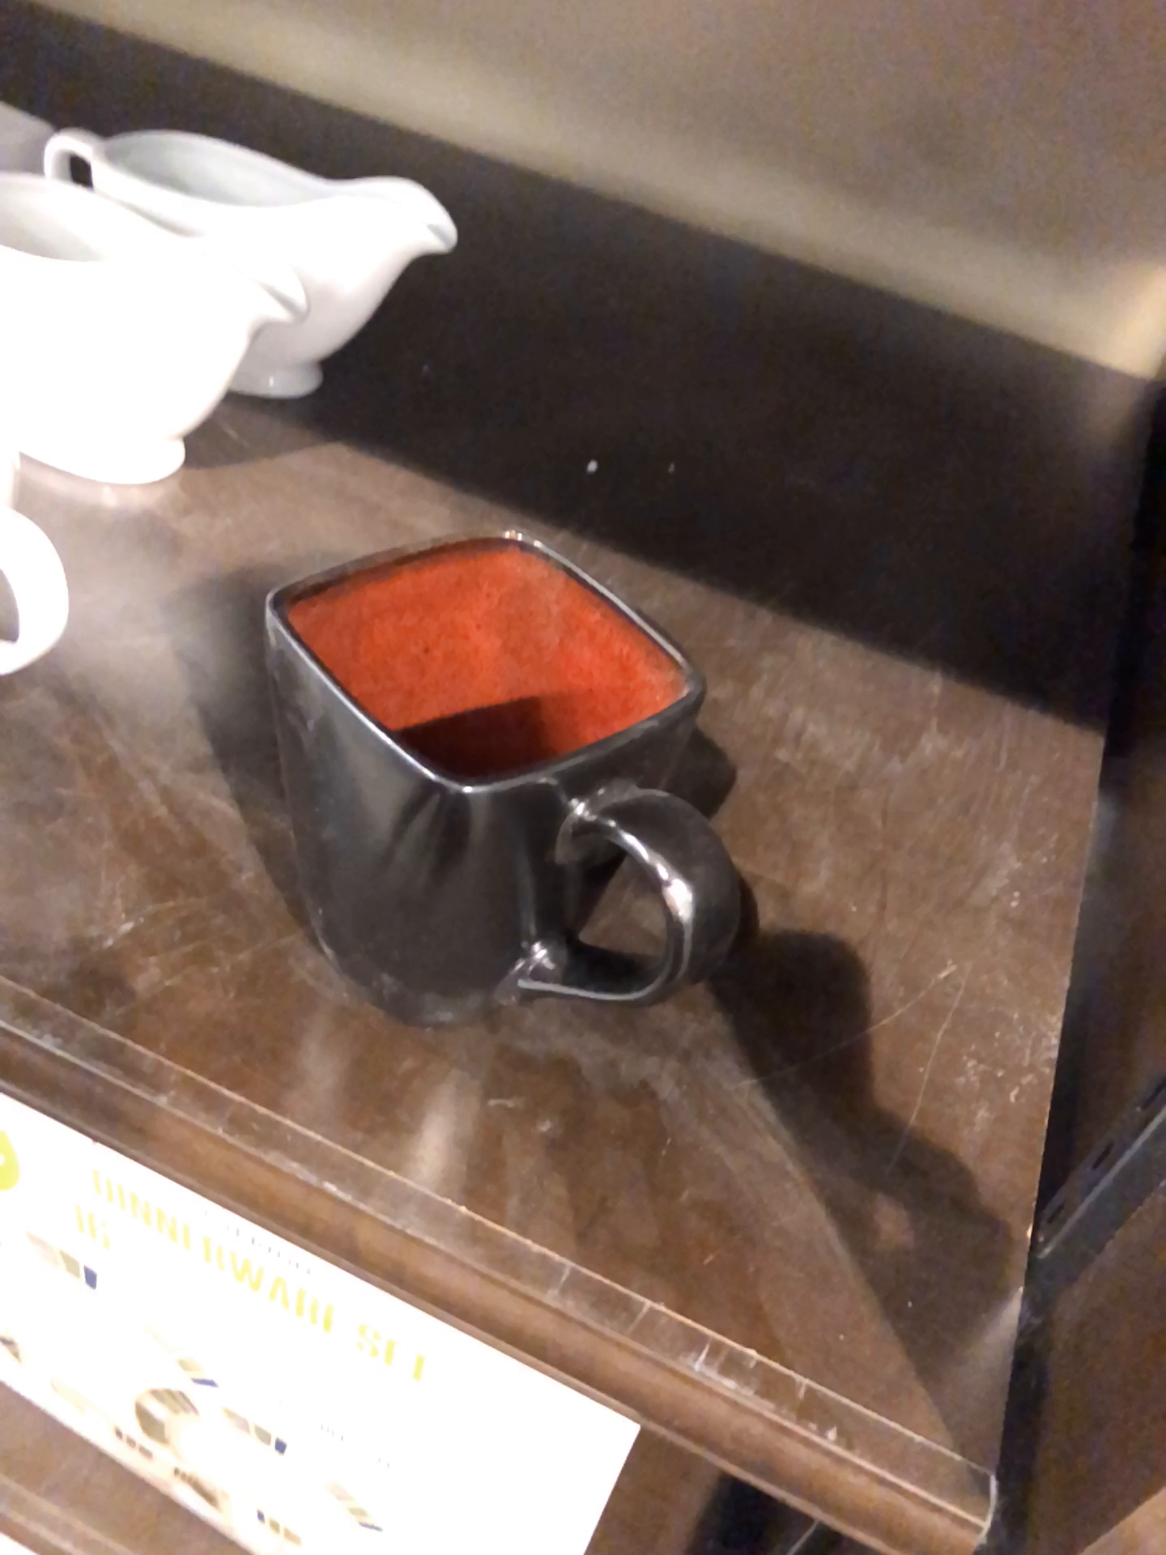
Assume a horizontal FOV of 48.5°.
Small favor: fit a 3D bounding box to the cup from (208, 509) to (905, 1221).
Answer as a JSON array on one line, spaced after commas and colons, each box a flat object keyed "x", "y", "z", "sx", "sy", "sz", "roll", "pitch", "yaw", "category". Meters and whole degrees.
[{"x": -0.014, "y": 0.012, "z": 0.305, "sx": 0.095, "sy": 0.083, "sz": 0.123, "roll": -22, "pitch": 52, "yaw": -37, "category": "cup"}]
